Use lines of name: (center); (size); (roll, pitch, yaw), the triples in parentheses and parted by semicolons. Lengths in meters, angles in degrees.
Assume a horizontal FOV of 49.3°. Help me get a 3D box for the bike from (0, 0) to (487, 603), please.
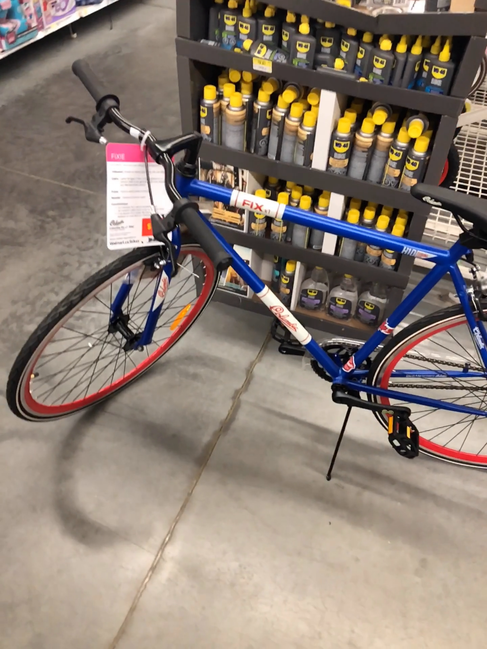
bike: (0.230, 0.065, 1.093); (1.490, 0.938, 0.605); (6, 46, -4)
